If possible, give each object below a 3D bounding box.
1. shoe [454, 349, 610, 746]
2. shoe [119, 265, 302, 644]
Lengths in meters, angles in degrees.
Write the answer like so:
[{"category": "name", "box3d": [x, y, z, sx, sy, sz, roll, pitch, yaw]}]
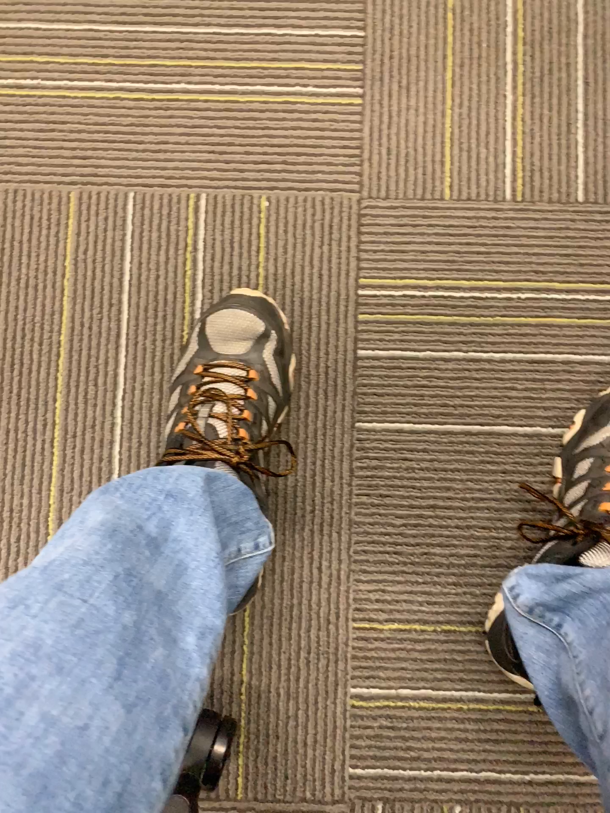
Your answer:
[{"category": "shoe", "box3d": [0.277, 0.123, 0.594, 0.122, 0.095, 0.322, 26, 87, 2]}, {"category": "shoe", "box3d": [-0.083, 0.042, 0.602, 0.125, 0.095, 0.323, 6, 86, 1]}]
